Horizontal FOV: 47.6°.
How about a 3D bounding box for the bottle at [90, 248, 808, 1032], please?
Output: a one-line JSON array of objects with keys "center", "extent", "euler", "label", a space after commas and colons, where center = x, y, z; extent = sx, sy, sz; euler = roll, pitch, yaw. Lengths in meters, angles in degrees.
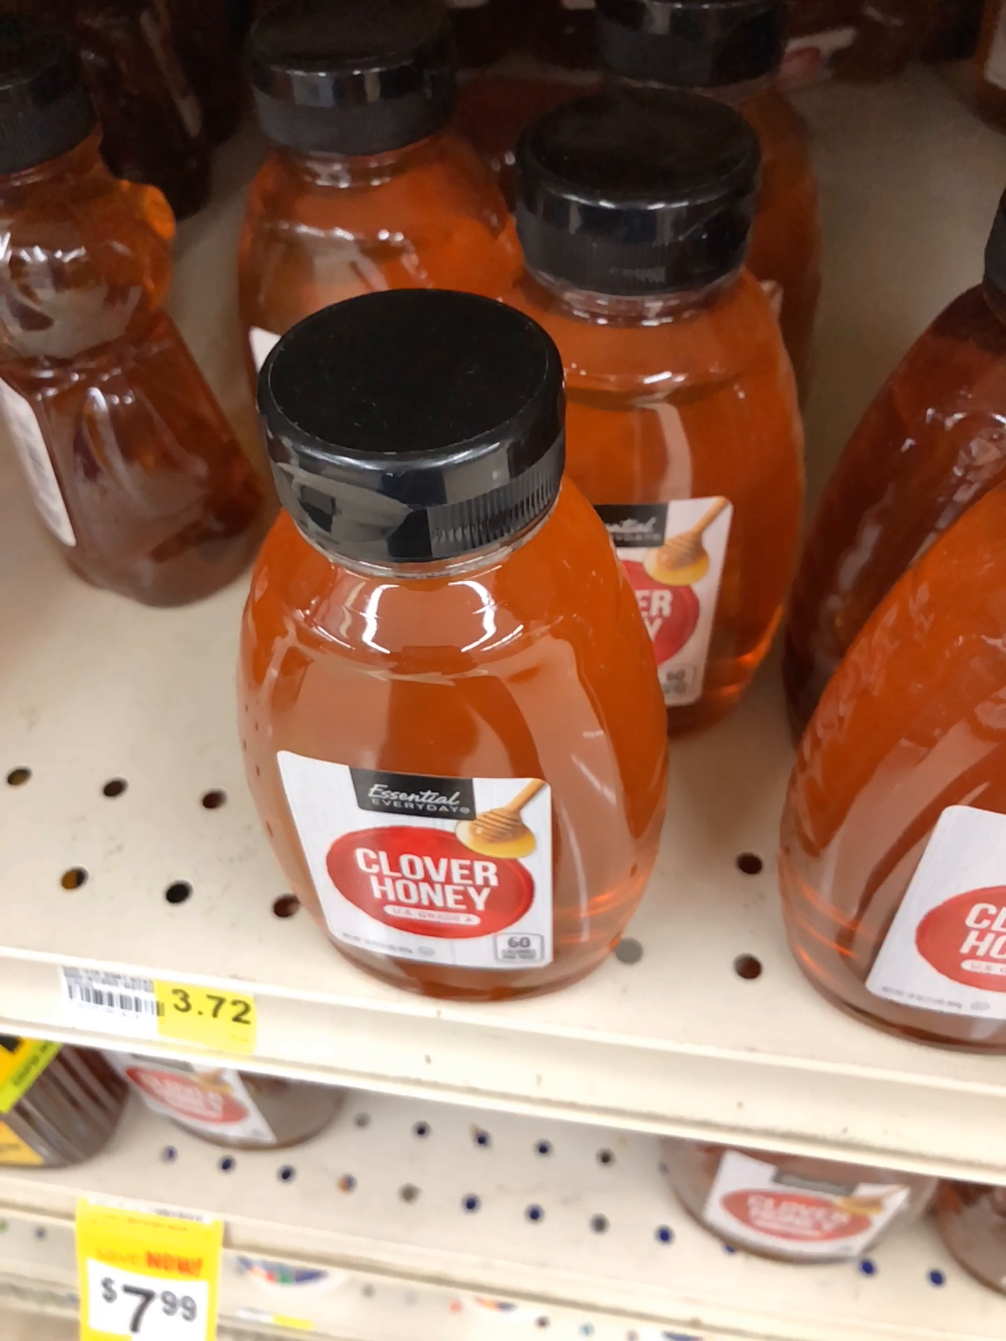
[{"center": [-0.001, 0.004, 0.199], "extent": [0.083, 0.130, 0.060], "euler": [5, 51, 7], "label": "bottle"}]
